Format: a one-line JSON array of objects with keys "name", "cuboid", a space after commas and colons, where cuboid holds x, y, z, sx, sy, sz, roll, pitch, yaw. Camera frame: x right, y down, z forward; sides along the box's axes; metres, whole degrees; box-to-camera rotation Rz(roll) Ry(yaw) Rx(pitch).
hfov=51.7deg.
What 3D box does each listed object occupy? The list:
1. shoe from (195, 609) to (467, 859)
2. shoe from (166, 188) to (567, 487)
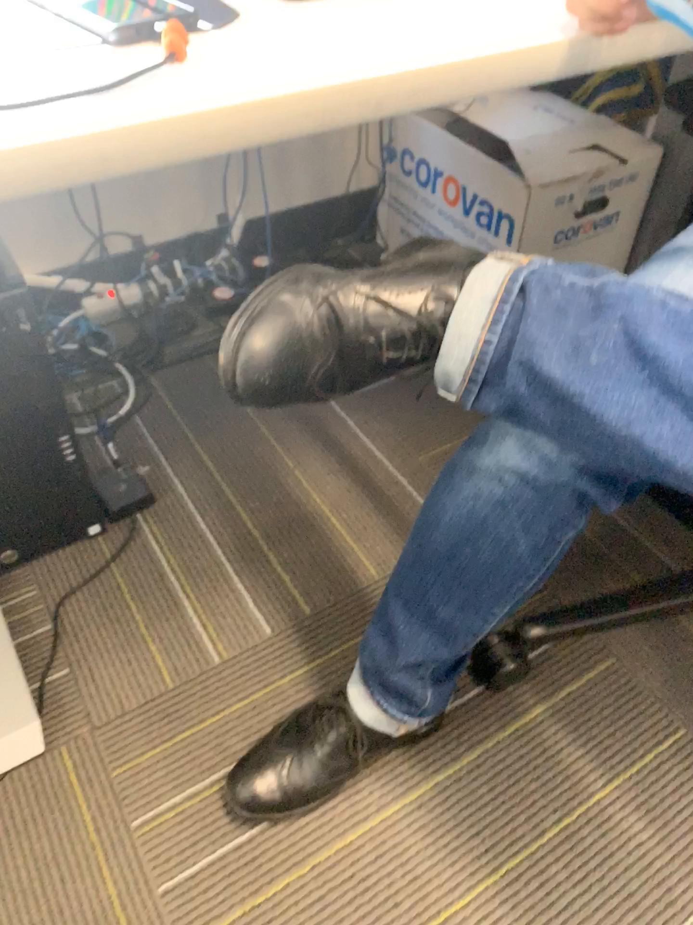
[{"name": "shoe", "cuboid": [-0.014, 0.297, 0.804, 0.274, 0.104, 0.112, -24, 52, -23]}, {"name": "shoe", "cuboid": [0.022, -0.102, 0.533, 0.274, 0.111, 0.091, -25, 48, -23]}]
